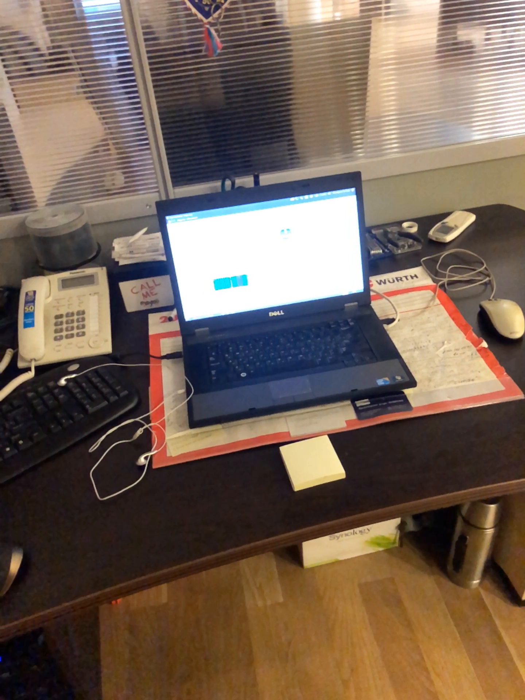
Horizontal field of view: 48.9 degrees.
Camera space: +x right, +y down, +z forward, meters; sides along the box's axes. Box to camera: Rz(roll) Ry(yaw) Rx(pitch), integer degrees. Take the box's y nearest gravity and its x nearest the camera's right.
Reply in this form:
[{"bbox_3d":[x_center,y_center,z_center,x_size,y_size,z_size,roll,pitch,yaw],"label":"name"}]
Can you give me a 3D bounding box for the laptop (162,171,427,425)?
[{"bbox_3d":[0.032,-0.087,0.838,0.317,0.209,0.257,-10,37,-4],"label":"laptop"}]
